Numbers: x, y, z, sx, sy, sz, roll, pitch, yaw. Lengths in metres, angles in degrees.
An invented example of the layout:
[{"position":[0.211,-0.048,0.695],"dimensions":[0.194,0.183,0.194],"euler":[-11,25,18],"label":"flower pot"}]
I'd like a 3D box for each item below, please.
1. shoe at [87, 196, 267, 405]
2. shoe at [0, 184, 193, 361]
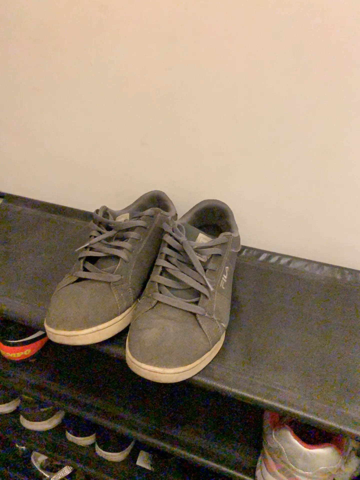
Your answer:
[{"position":[0.021,0.047,0.490],"dimensions":[0.120,0.079,0.302],"euler":[11,33,20],"label":"shoe"},{"position":[-0.087,0.018,0.504],"dimensions":[0.120,0.079,0.272],"euler":[11,33,20],"label":"shoe"}]
